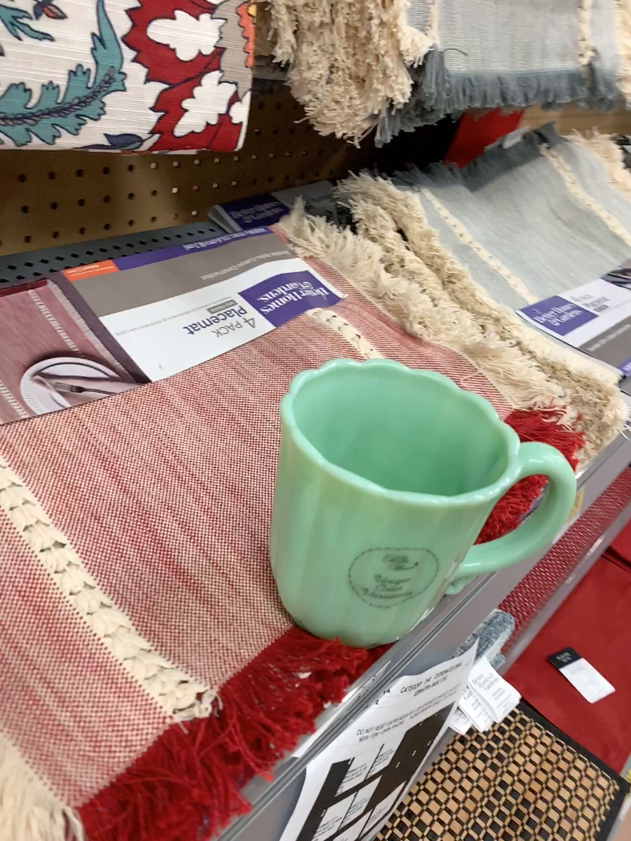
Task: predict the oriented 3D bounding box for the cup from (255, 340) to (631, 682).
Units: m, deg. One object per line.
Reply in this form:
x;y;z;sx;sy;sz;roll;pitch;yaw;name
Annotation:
0.046;0.035;0.258;0.130;0.090;0.090;5;34;-8;cup
